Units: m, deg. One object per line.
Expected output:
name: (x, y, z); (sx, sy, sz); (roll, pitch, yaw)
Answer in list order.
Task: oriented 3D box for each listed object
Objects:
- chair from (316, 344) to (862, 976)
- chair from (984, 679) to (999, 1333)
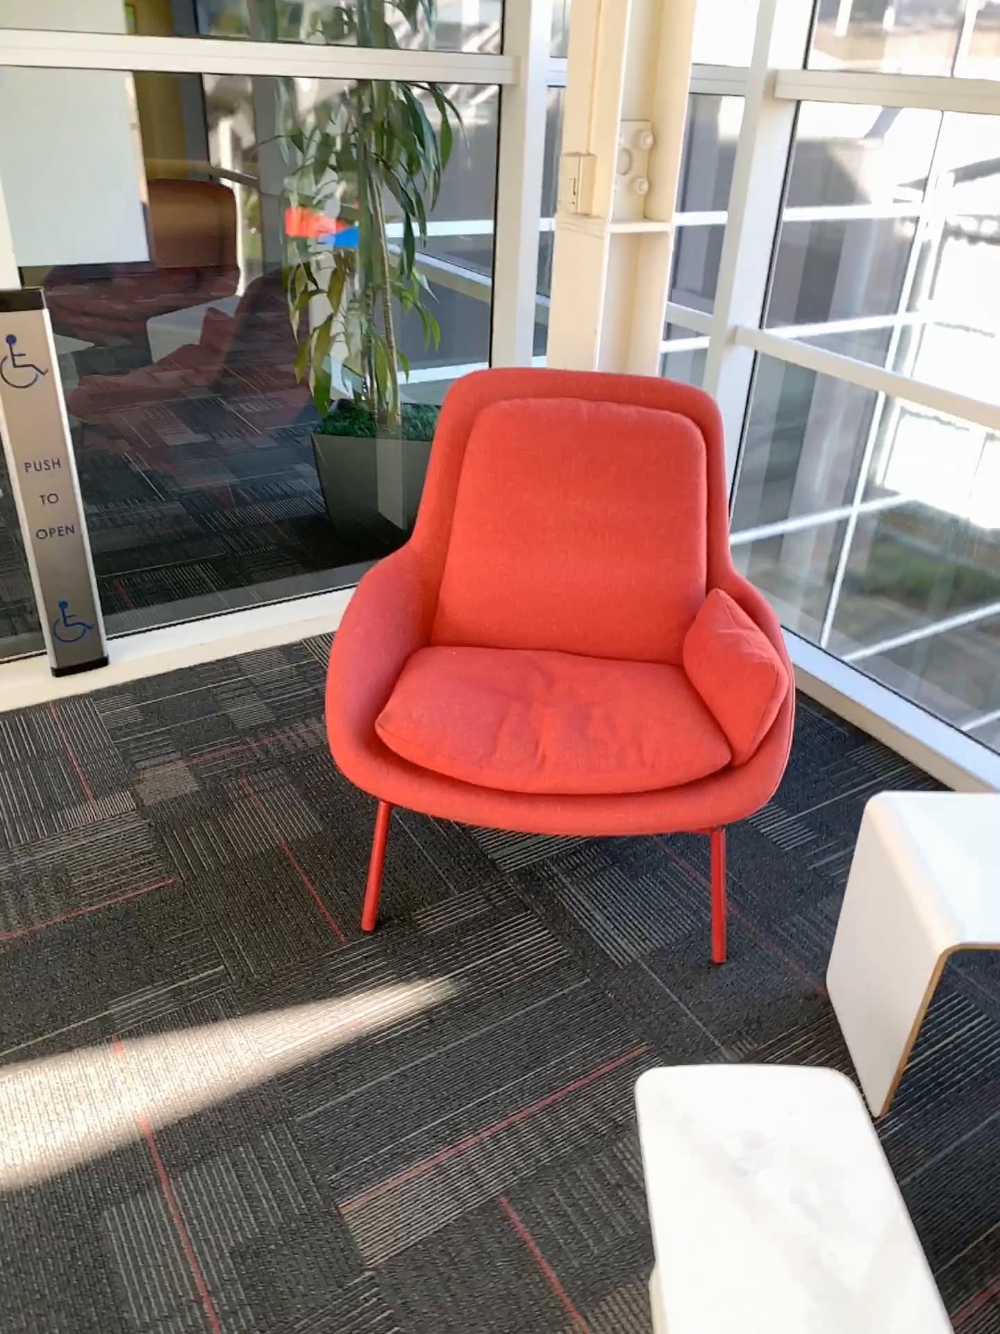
chair: (0.142, -0.047, 2.243); (0.870, 1.053, 0.825); (4, 31, 2)
chair: (1.216, 0.708, 0.989); (0.920, 0.994, 0.875); (6, 31, 4)
